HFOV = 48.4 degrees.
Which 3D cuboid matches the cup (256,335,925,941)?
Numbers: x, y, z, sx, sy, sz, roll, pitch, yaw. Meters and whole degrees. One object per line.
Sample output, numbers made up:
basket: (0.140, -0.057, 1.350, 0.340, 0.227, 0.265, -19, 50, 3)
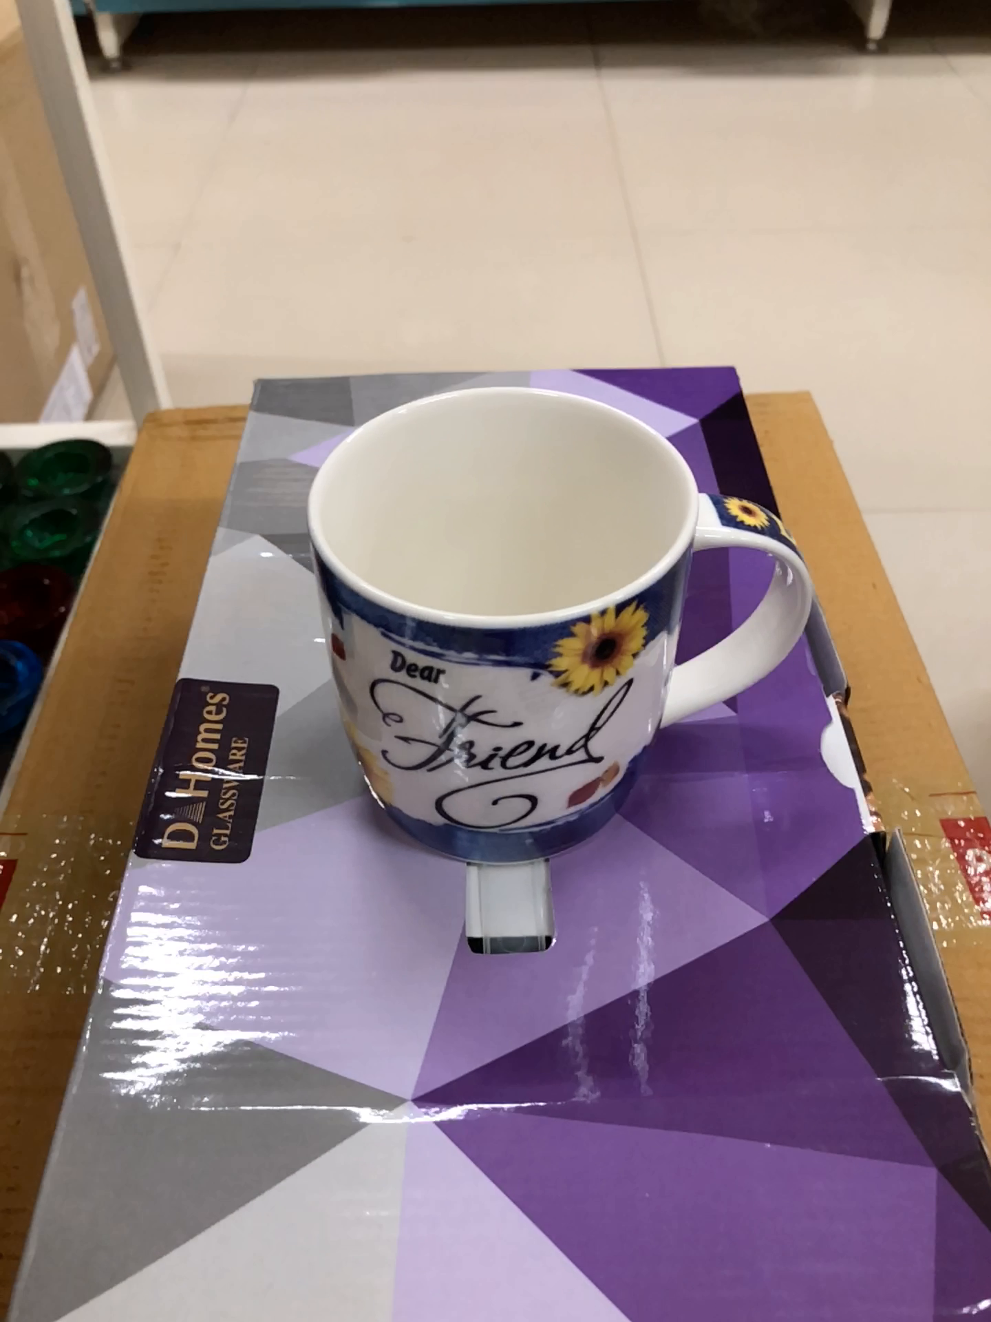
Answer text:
cup: (0.017, -0.008, 0.266, 0.120, 0.089, 0.080, -15, 47, -13)
